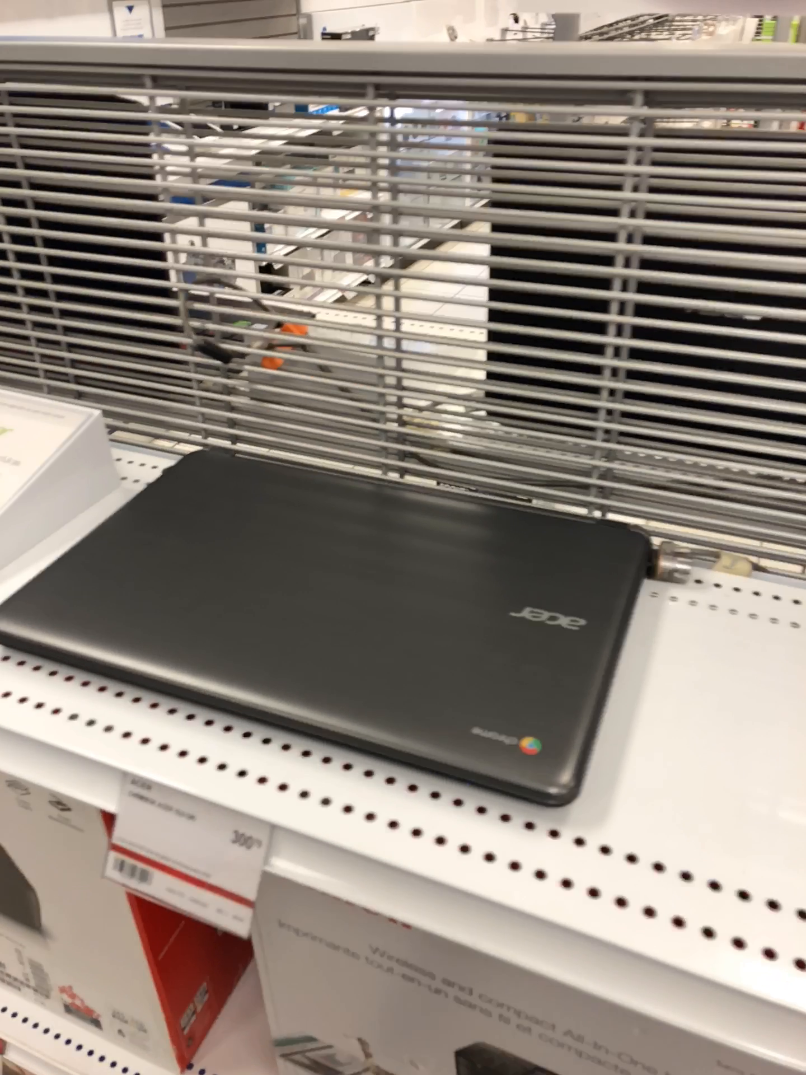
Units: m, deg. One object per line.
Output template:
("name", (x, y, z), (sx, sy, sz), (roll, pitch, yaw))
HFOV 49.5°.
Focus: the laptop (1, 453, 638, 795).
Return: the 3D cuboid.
("laptop", (-0.047, 0.026, 0.581), (0.367, 0.001, 0.238), (11, 35, 21))
